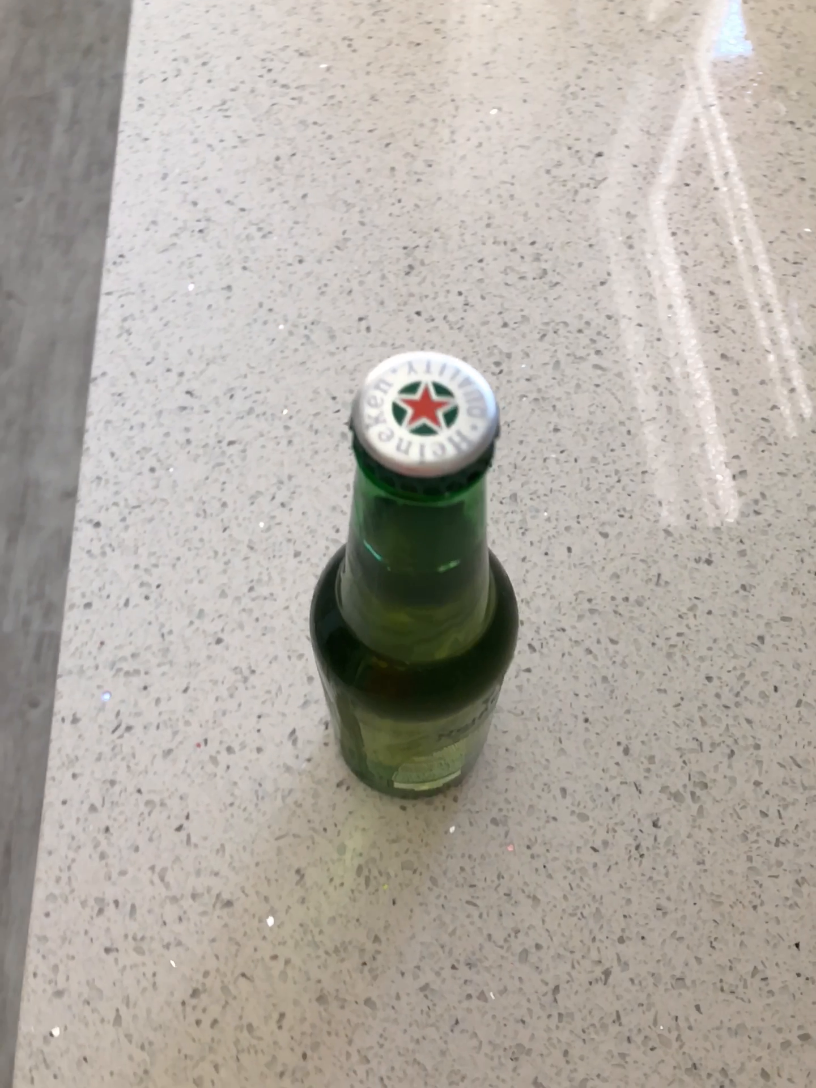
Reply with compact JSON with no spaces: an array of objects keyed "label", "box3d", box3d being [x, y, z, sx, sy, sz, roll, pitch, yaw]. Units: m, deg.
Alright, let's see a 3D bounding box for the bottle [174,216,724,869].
[{"label":"bottle","box3d":[0.009,0.025,0.253,0.070,0.210,0.070,0,63,0]}]
